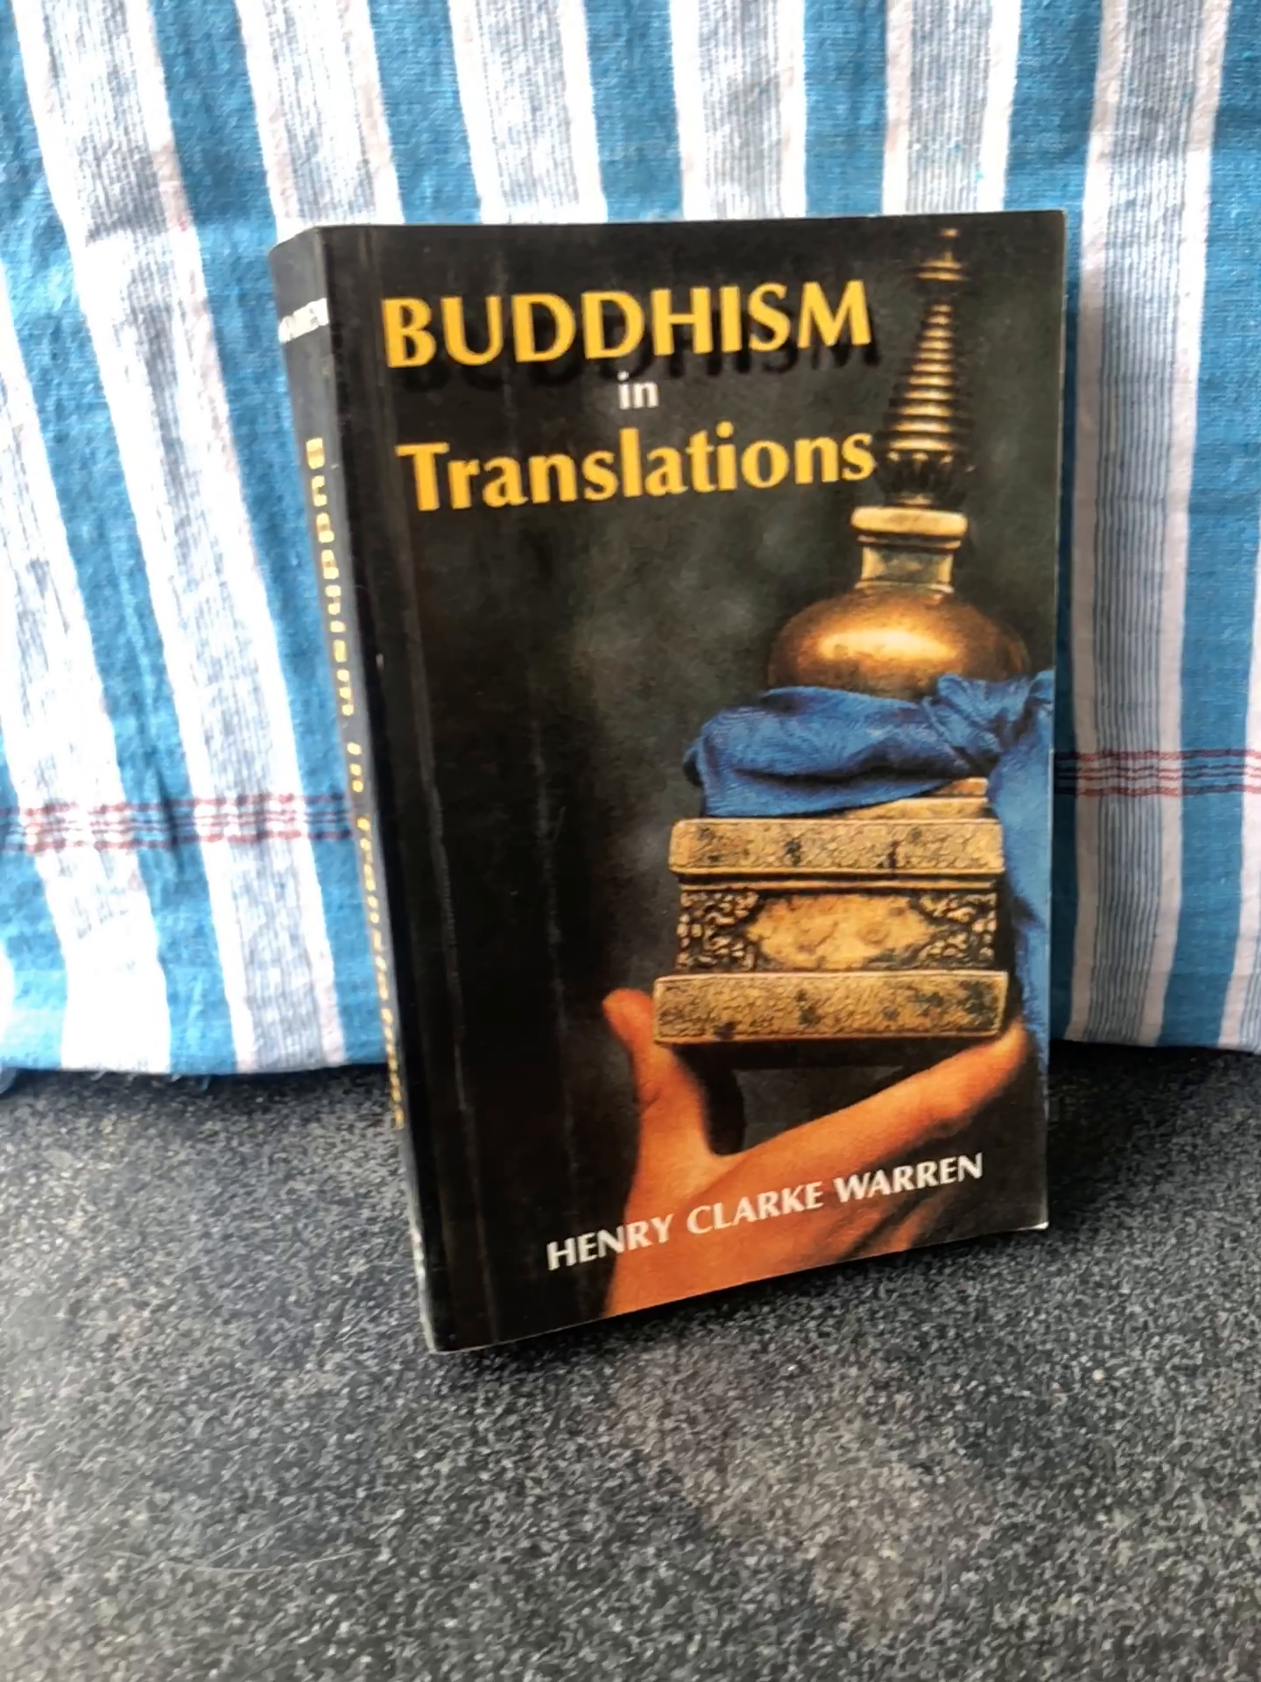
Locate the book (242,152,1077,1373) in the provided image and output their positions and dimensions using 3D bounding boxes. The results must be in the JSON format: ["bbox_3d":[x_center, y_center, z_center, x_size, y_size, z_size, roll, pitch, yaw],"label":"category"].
[{"bbox_3d":[0.008,-0.019,0.282,0.140,0.210,0.050,-7,8,-14],"label":"book"}]
